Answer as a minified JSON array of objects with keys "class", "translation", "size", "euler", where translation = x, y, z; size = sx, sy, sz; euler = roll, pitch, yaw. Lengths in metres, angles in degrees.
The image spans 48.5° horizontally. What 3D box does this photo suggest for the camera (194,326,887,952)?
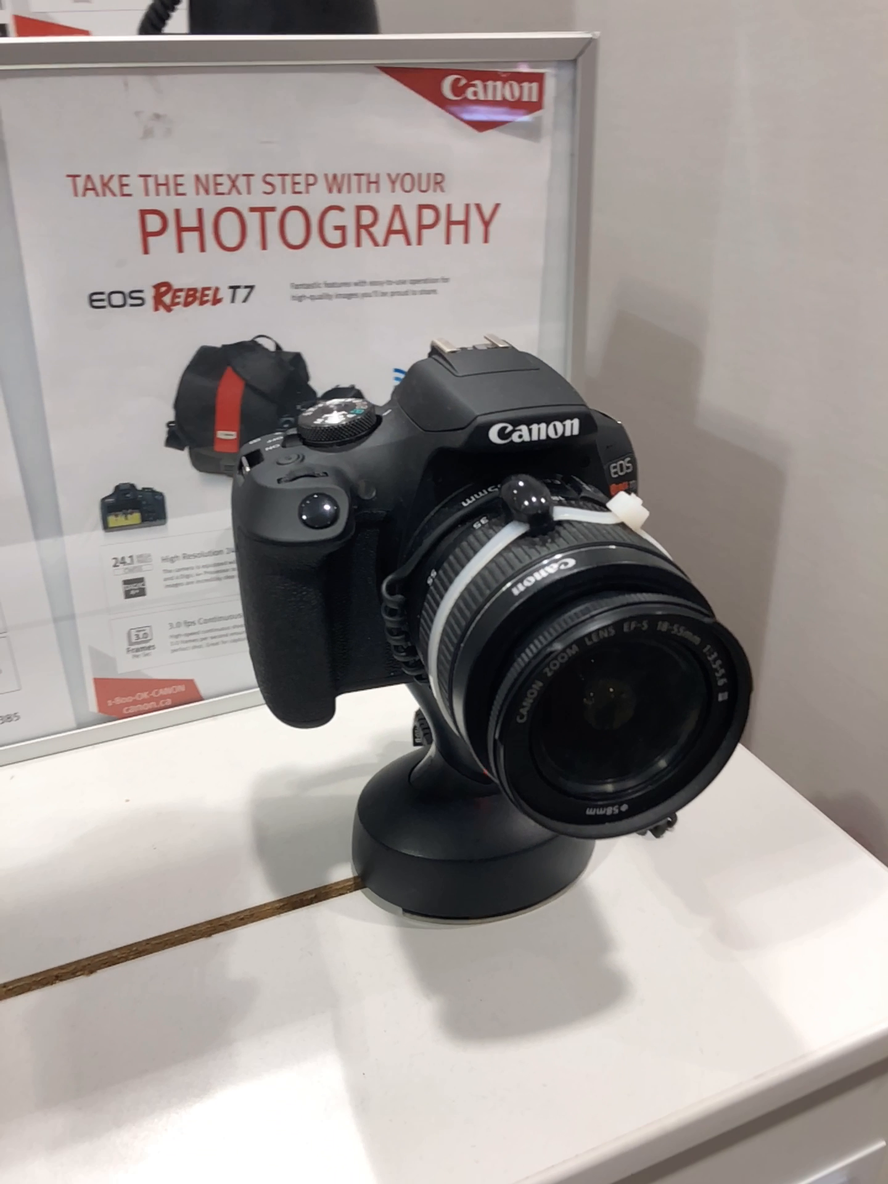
[{"class":"camera","translation":[0.016,-0.007,0.271],"size":[0.140,0.090,0.151],"euler":[-10,27,-16]}]
